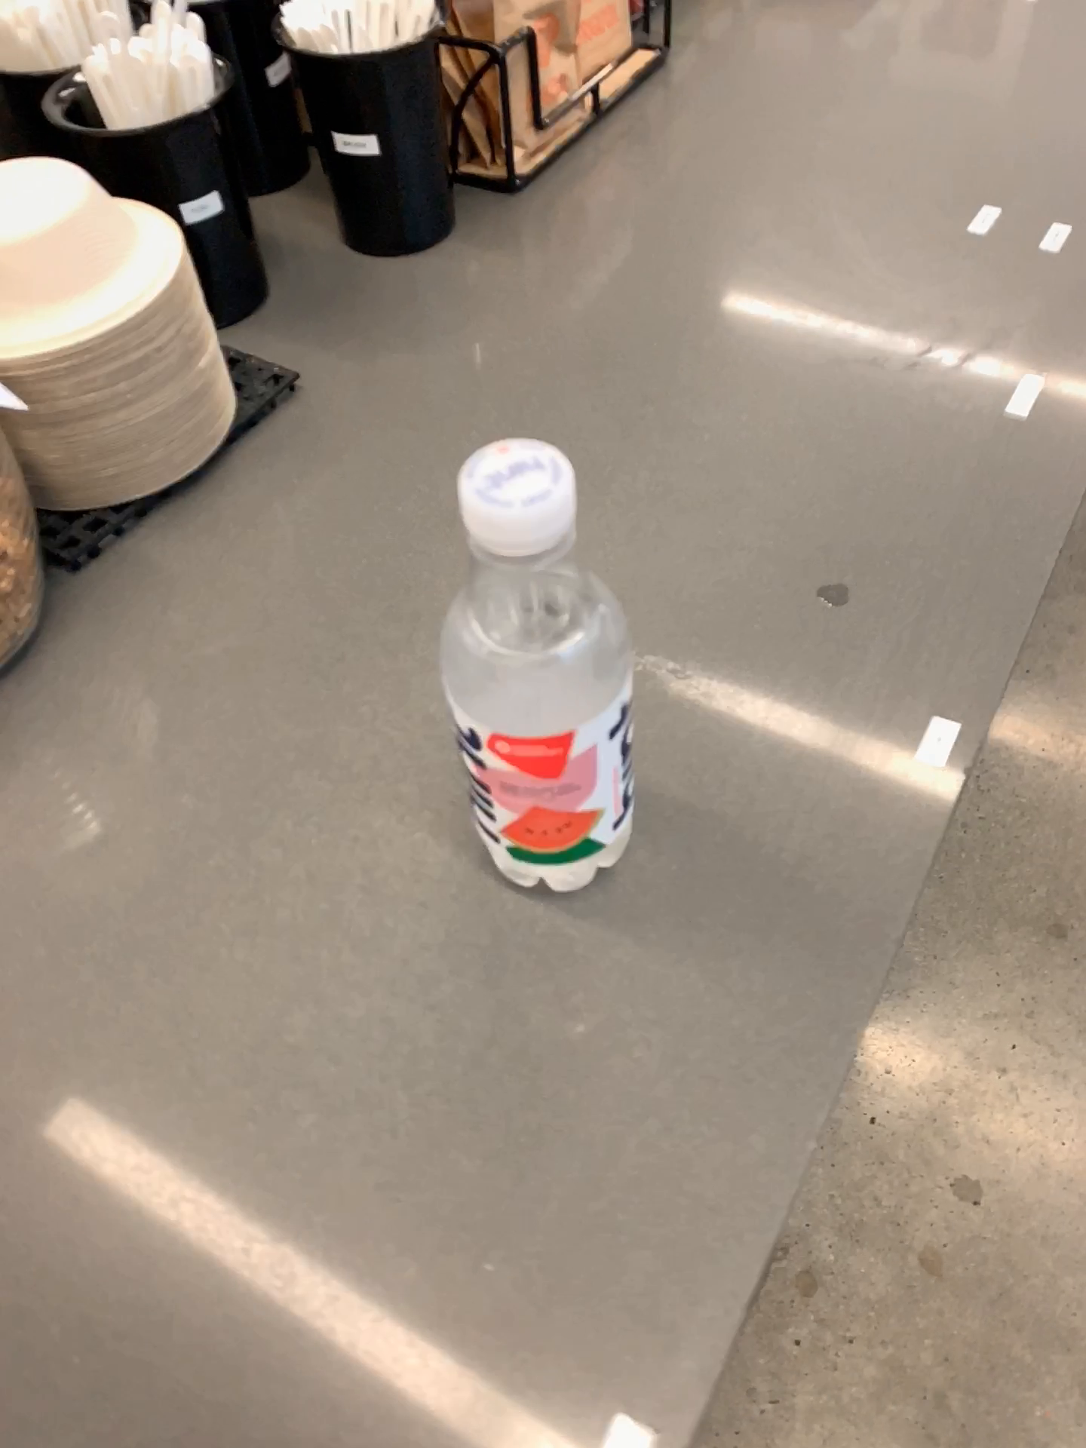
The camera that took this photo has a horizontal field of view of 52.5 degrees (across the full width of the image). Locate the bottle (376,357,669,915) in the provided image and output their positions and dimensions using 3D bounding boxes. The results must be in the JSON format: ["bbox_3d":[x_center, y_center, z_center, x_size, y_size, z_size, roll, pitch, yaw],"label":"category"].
[{"bbox_3d":[-0.001,-0.018,0.393,0.070,0.199,0.070,-2,52,3],"label":"bottle"}]
